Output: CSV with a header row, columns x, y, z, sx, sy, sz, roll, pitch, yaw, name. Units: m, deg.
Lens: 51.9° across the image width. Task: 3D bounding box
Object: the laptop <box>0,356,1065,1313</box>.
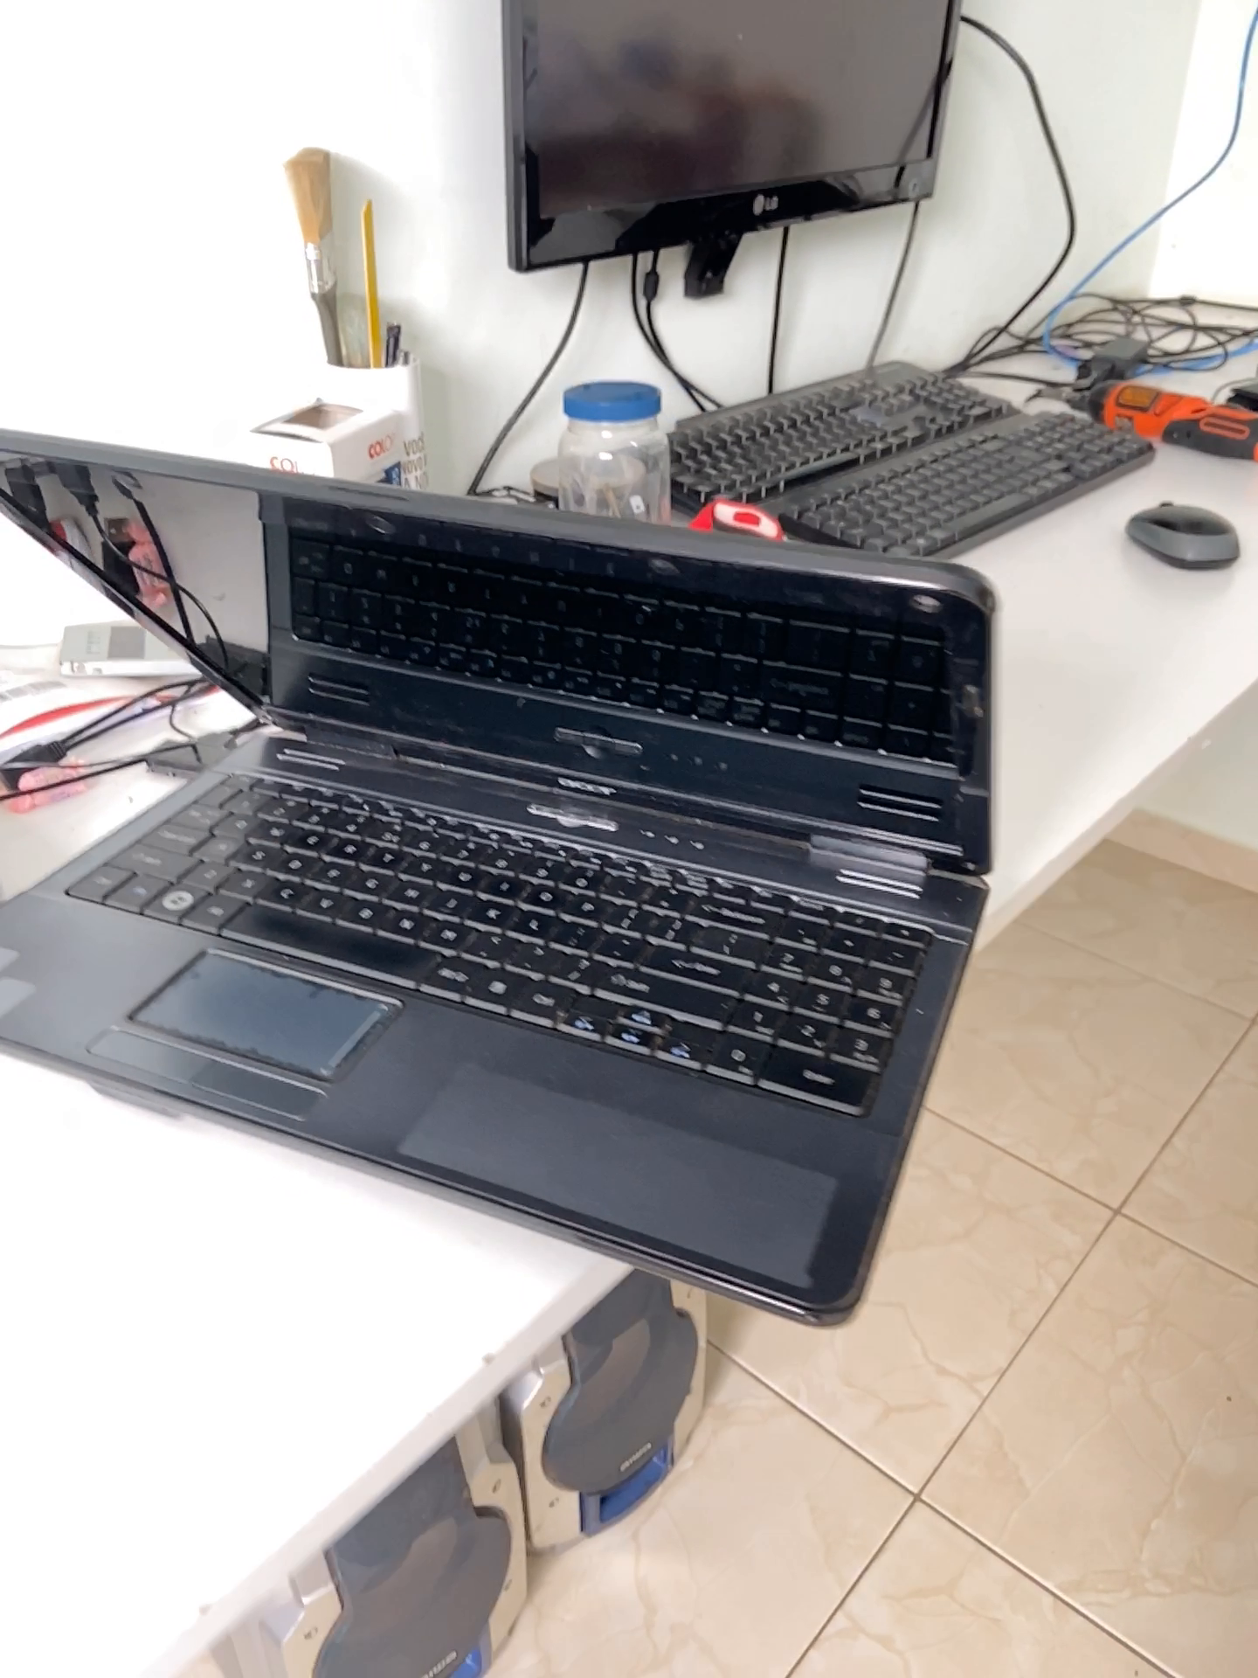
x,y,z,sx,sy,sz,roll,pitch,yaw,name
-0.063,-0.040,0.467,0.366,0.183,0.234,13,34,19,laptop
